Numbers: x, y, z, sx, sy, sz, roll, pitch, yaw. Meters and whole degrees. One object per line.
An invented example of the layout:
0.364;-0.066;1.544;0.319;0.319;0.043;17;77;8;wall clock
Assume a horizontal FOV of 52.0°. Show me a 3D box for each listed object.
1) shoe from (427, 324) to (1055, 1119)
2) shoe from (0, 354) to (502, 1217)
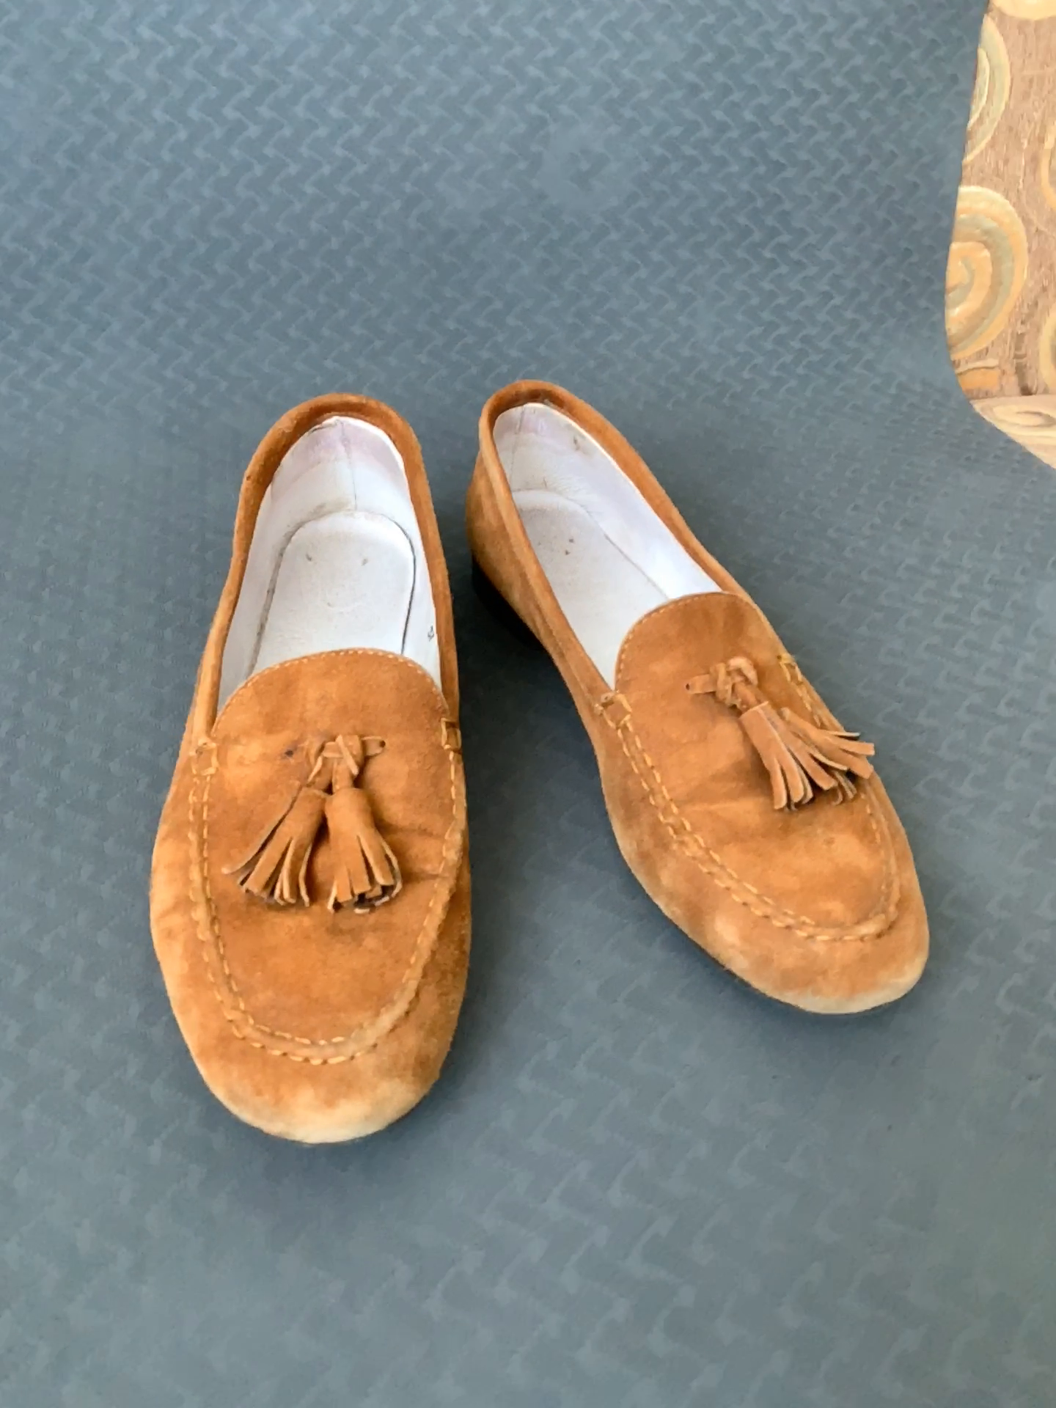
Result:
0.049;-0.015;0.339;0.090;0.090;0.241;-14;49;-18;shoe
-0.062;0.003;0.300;0.090;0.090;0.231;-1;46;-6;shoe
